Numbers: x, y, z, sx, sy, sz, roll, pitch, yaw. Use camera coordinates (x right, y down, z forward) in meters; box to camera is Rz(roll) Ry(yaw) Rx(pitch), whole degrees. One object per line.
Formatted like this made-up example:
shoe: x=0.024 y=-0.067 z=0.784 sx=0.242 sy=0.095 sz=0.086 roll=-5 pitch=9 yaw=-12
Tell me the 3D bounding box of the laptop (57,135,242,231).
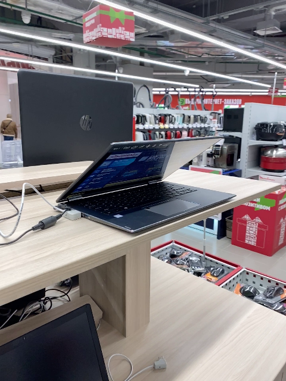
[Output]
laptop: x=0.024 y=-0.043 z=0.615 sx=0.320 sy=0.128 sz=0.217 roll=-12 pitch=18 yaw=-44
